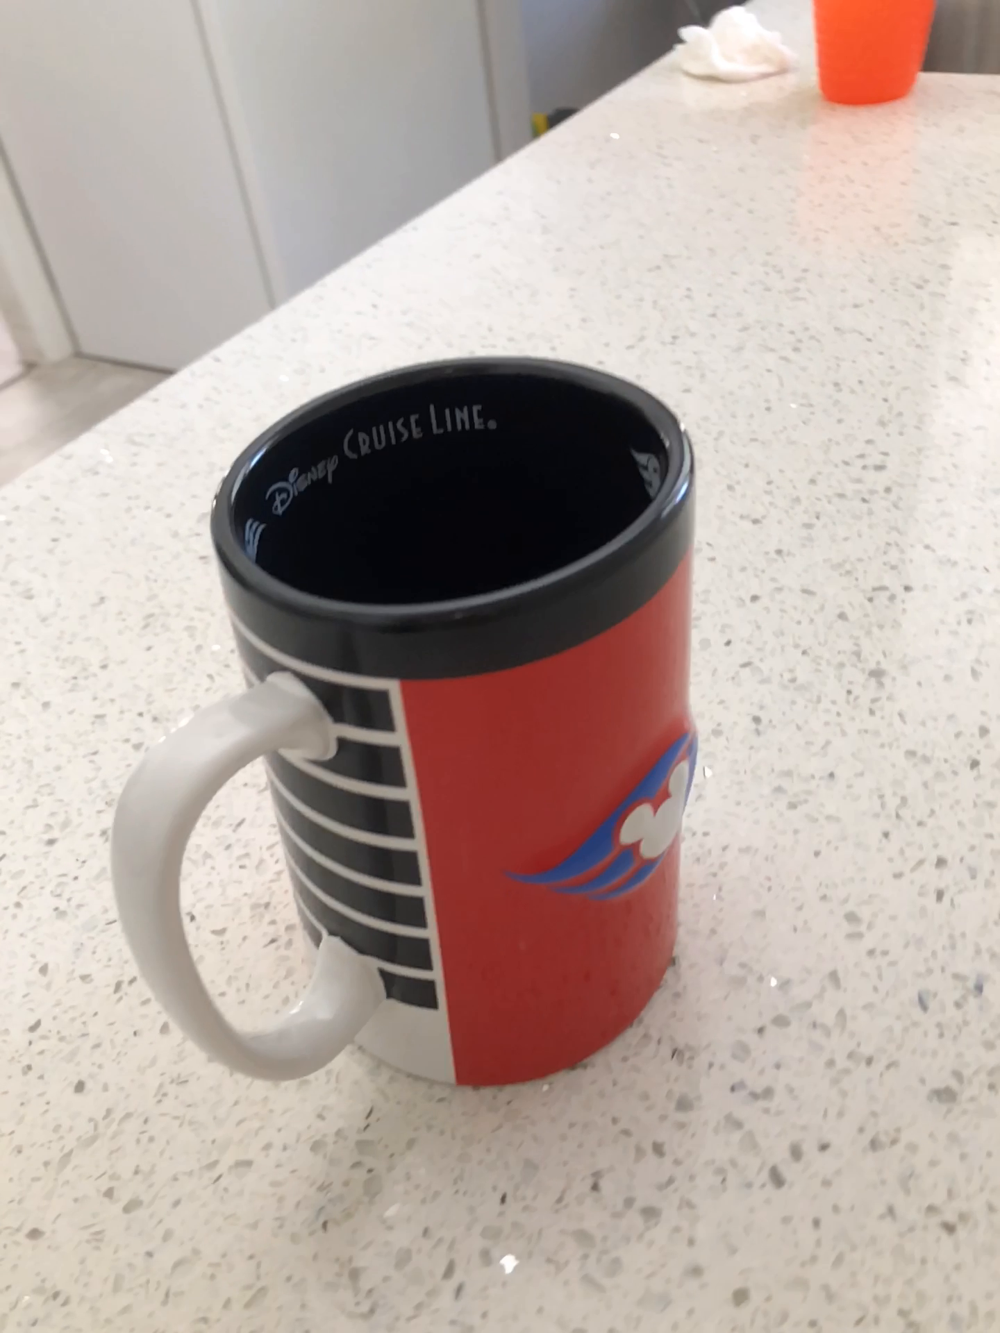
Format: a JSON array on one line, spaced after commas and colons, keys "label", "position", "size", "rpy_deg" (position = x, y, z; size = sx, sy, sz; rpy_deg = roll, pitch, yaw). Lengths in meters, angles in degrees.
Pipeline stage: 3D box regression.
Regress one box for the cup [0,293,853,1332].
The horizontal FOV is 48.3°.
[{"label": "cup", "position": [-0.013, 0.017, 0.202], "size": [0.090, 0.110, 0.130], "rpy_deg": [24, 50, 34]}]
